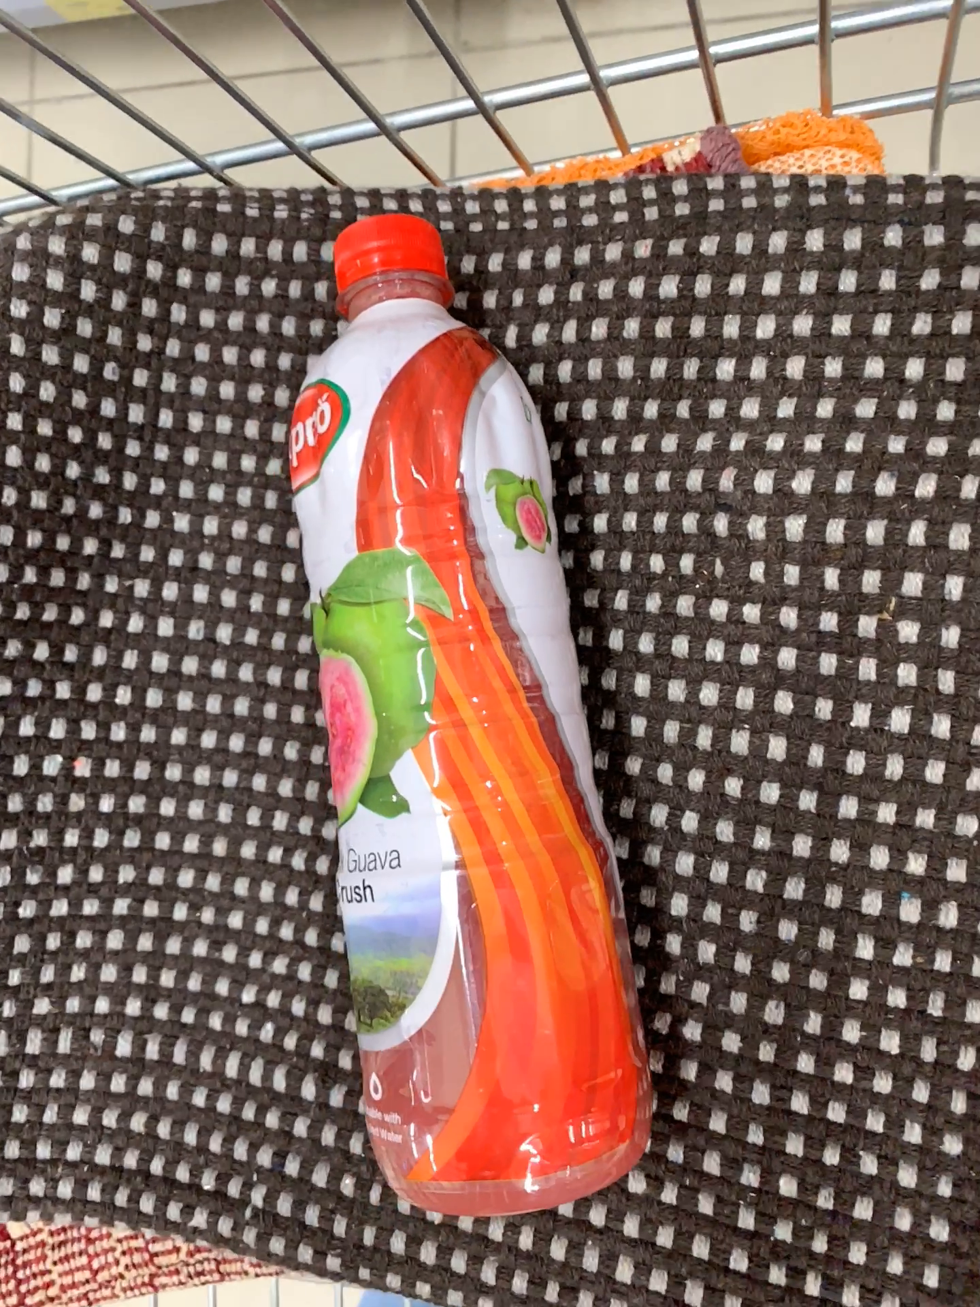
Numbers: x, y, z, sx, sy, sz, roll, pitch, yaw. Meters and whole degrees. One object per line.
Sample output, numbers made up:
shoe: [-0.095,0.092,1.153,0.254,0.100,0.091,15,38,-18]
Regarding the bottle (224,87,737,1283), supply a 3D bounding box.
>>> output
bottle: [-0.011,0.001,0.246,0.070,0.070,0.240,-2,79,-29]
